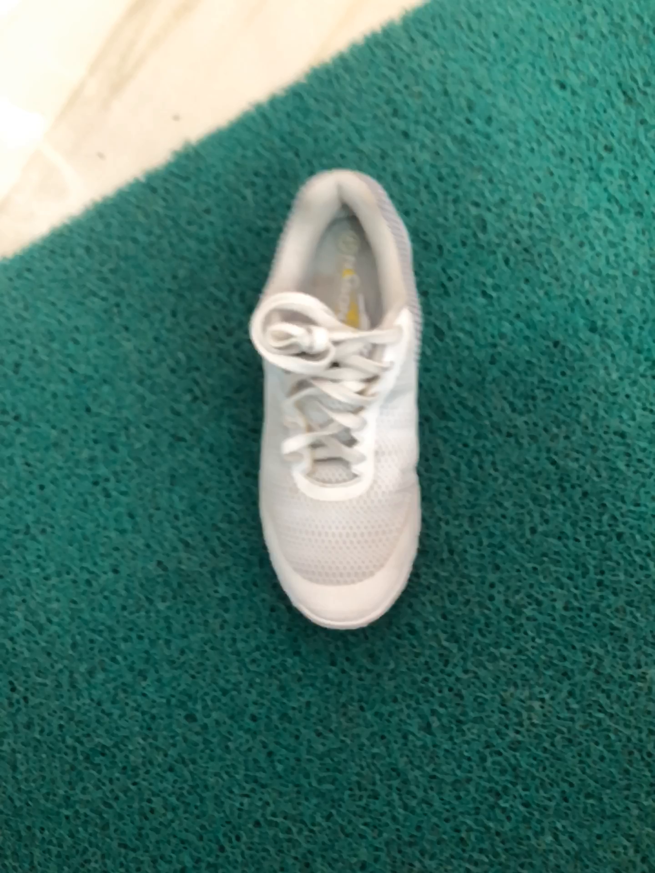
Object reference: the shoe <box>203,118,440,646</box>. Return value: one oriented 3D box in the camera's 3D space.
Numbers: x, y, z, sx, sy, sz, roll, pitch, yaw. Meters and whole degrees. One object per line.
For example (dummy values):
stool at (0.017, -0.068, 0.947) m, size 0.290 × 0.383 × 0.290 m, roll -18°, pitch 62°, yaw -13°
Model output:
shoe at (0.007, -0.032, 0.448) m, size 0.100 × 0.100 × 0.290 m, roll 4°, pitch 80°, yaw 11°
